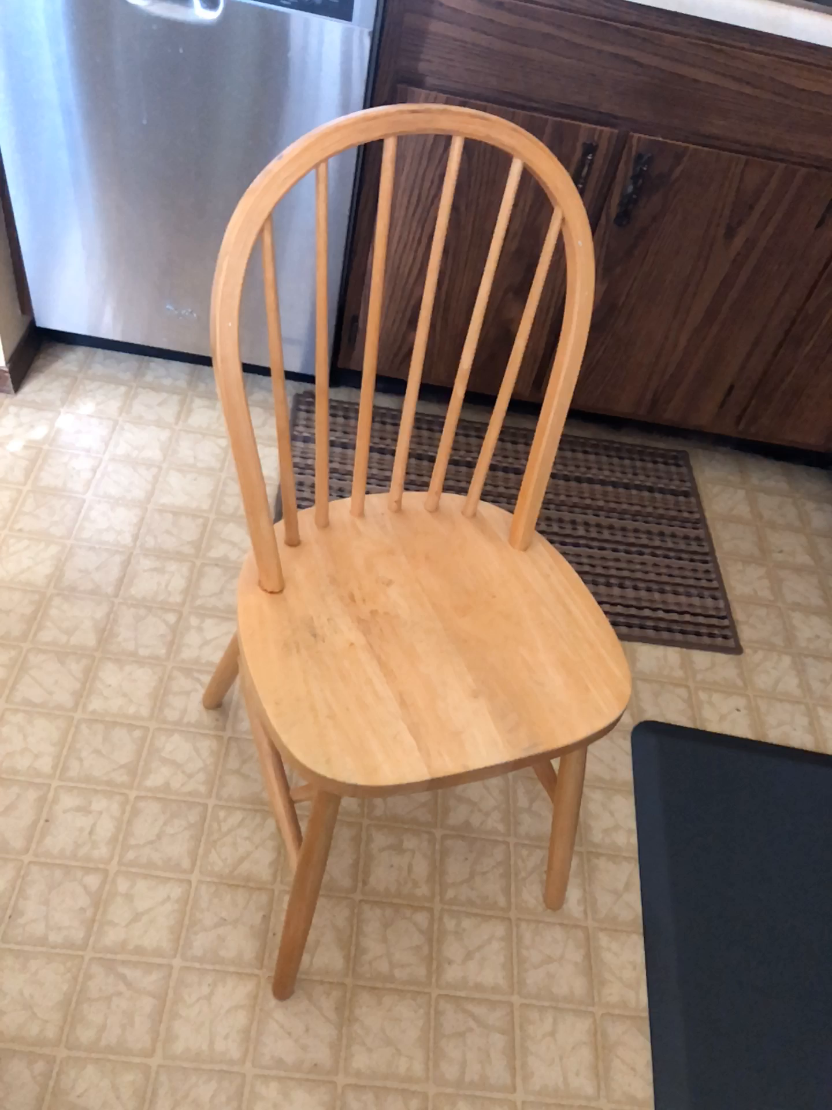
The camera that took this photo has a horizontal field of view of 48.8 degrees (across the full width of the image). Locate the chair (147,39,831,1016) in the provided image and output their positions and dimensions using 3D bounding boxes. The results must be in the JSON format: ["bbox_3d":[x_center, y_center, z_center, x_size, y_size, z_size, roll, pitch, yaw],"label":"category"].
[{"bbox_3d":[0.001,0.021,1.038,0.461,0.898,0.560,-10,51,-21],"label":"chair"}]
